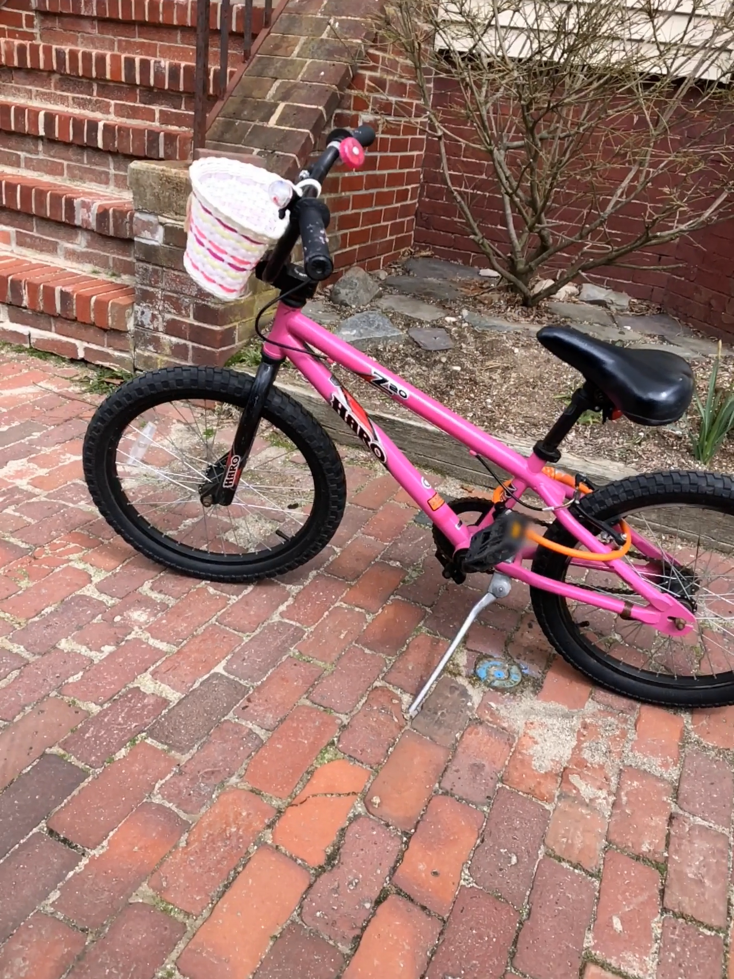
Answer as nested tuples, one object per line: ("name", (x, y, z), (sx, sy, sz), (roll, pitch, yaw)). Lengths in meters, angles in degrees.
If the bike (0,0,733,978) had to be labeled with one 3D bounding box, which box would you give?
("bike", (0.119, -0.059, 1.200), (1.337, 0.907, 0.715), (14, 27, 8))
